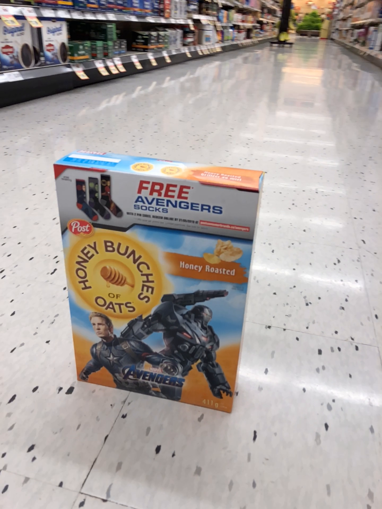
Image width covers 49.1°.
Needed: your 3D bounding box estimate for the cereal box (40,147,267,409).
[{"bbox_3d":[-0.039,0.031,0.447,0.200,0.258,0.060,8,29,9],"label":"cereal box"}]
